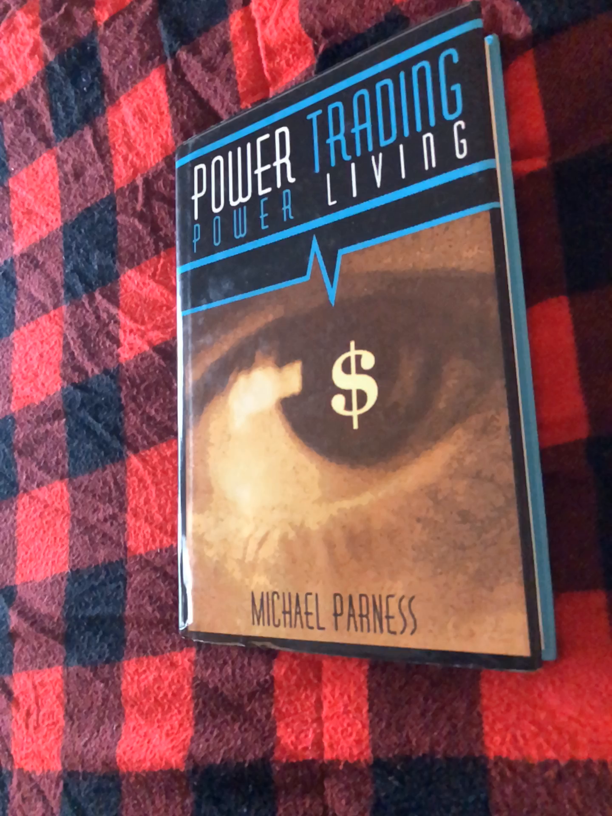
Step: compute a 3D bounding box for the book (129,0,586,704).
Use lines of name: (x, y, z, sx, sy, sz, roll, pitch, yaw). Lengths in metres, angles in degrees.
book: (0.004, -0.023, 0.270, 0.171, 0.040, 0.240, -9, 80, 33)
